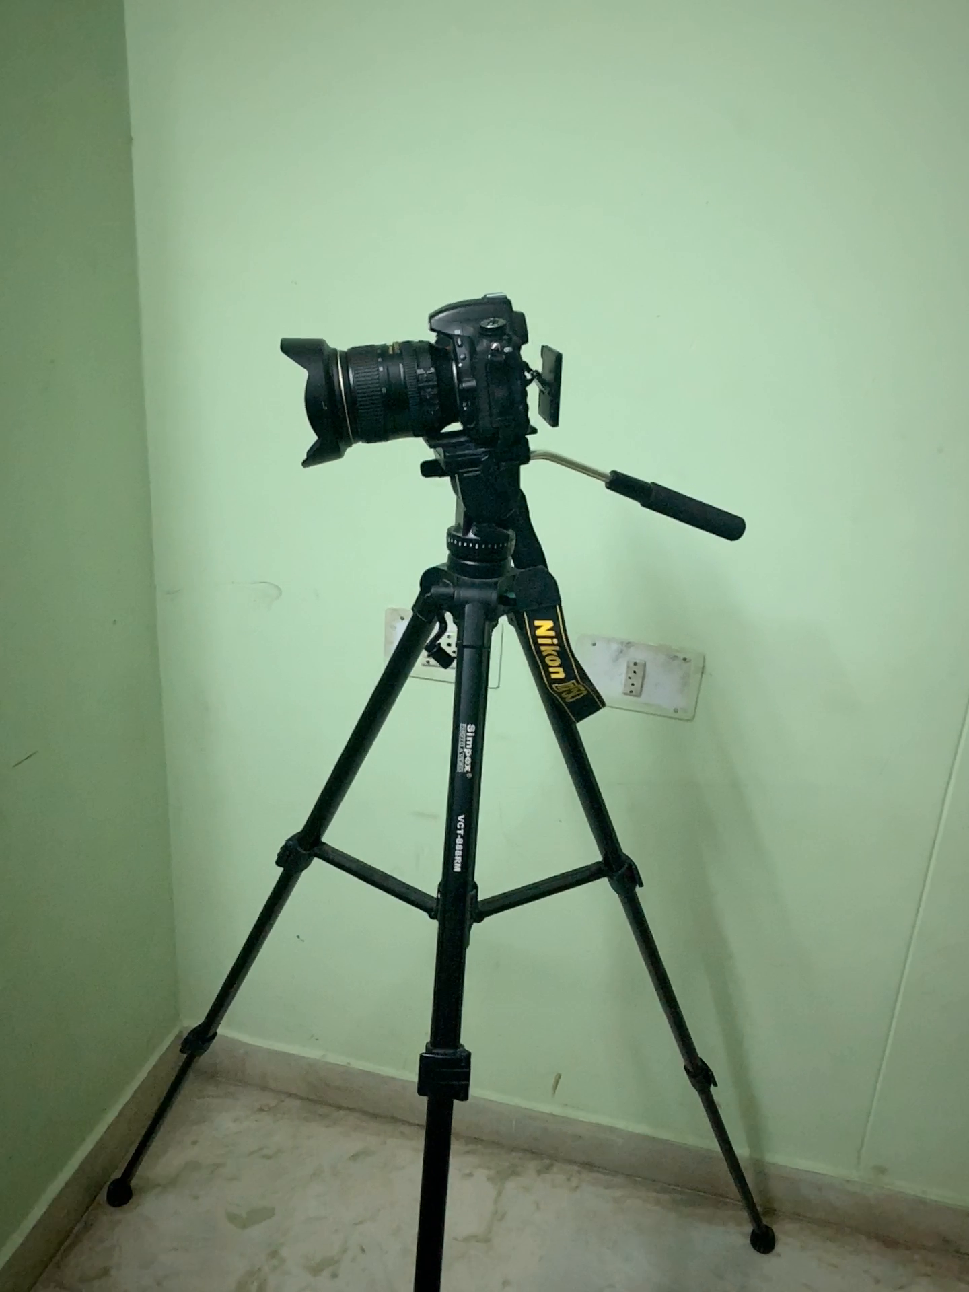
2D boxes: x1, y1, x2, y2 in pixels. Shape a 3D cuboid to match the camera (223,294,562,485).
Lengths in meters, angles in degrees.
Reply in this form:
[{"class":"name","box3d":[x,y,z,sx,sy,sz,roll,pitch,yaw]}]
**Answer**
[{"class":"camera","box3d":[-0.086,-0.240,0.895,0.267,0.127,0.160,-10,22,-14]}]
